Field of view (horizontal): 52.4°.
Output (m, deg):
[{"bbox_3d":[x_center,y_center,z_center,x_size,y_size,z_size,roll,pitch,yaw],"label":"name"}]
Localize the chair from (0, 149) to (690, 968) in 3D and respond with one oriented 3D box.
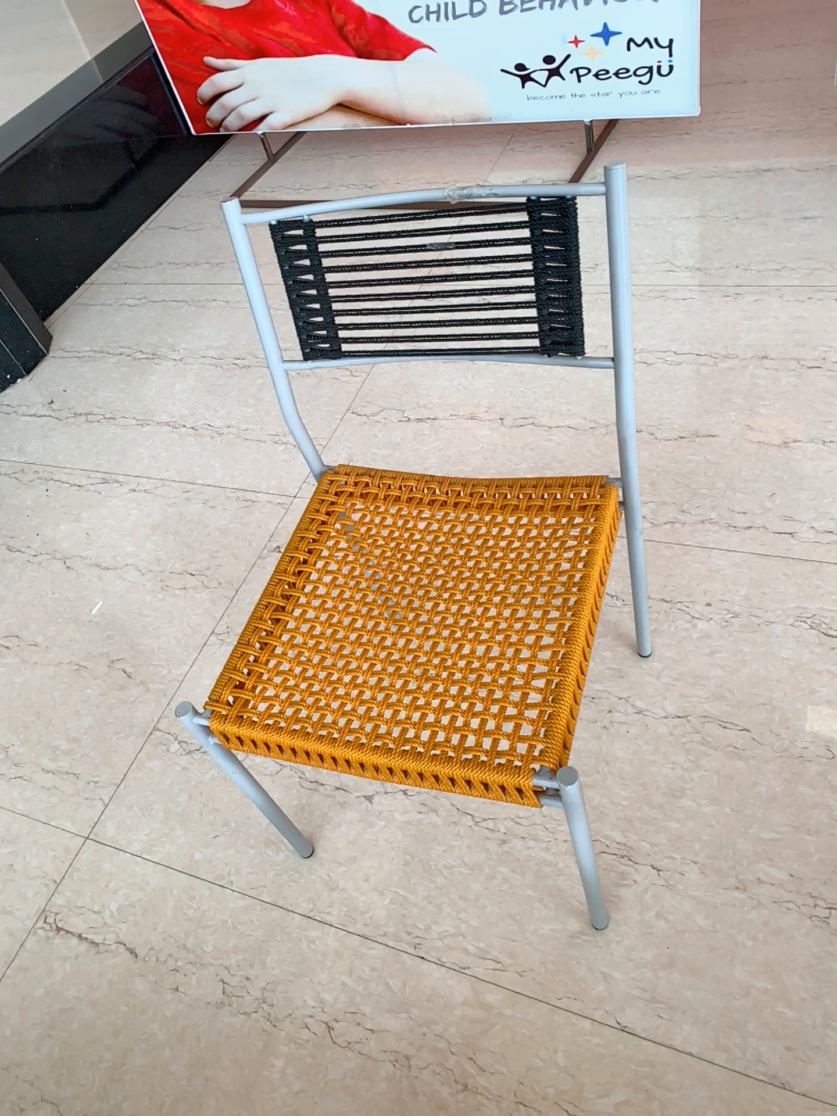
[{"bbox_3d":[0.011,0.033,1.014,0.531,0.744,0.523,6,52,23],"label":"chair"}]
